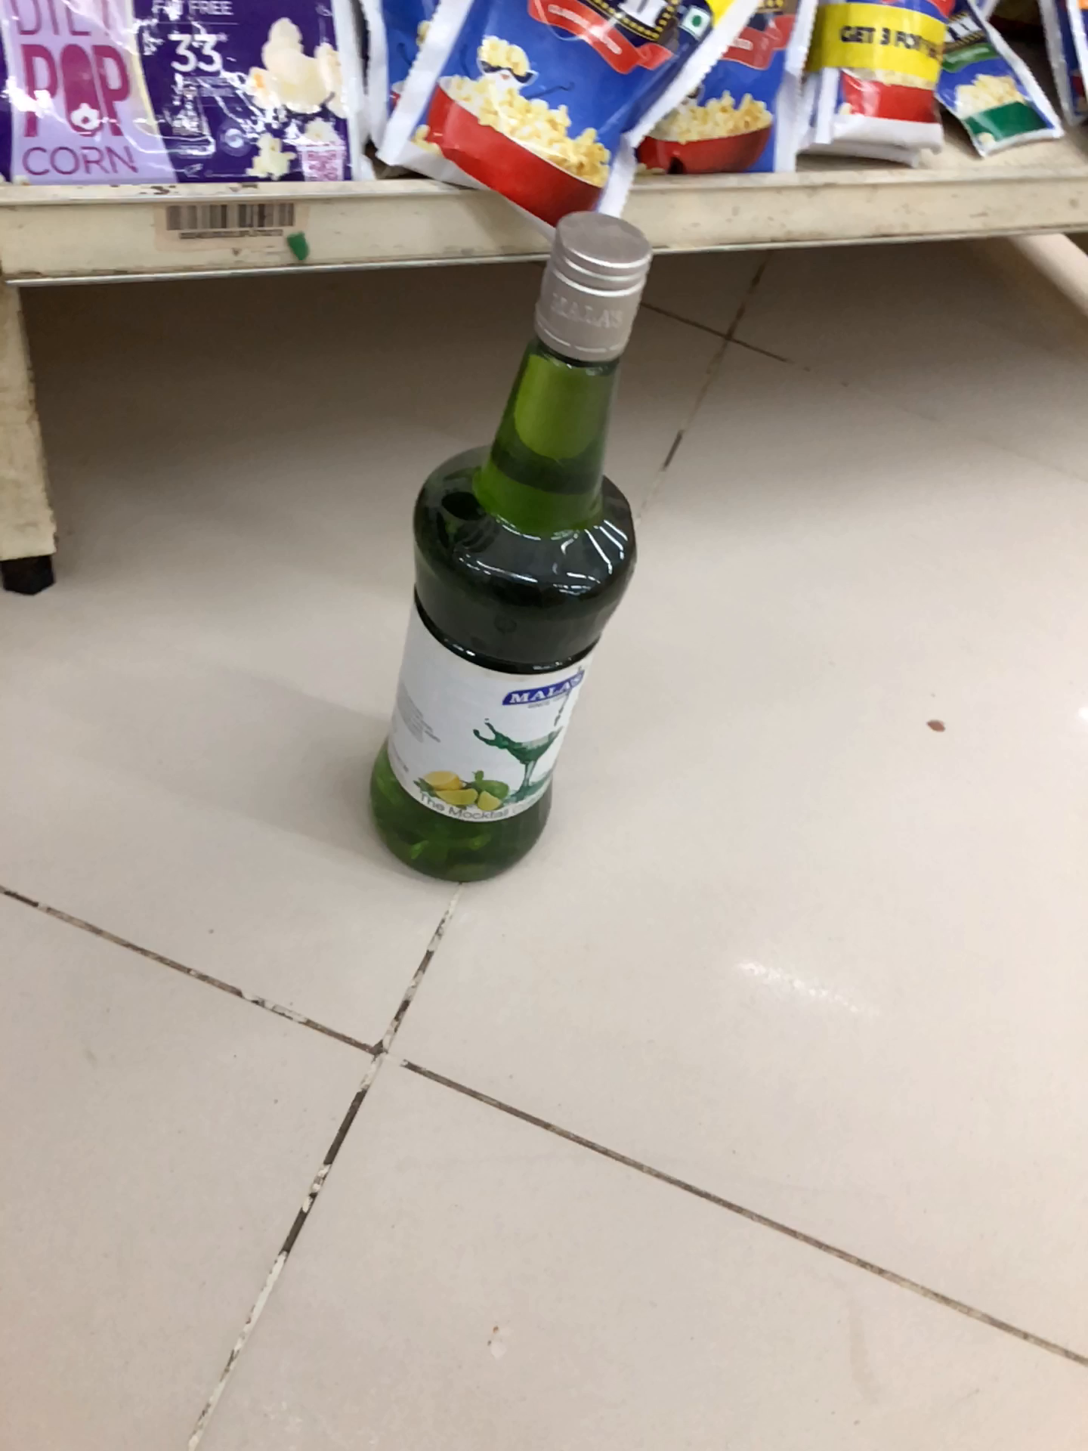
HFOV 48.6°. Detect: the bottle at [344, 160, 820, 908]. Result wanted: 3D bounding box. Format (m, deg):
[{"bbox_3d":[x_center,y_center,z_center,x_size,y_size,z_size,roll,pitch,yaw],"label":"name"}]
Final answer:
[{"bbox_3d":[-0.008,-0.051,0.451,0.090,0.278,0.090,7,51,-9],"label":"bottle"}]
